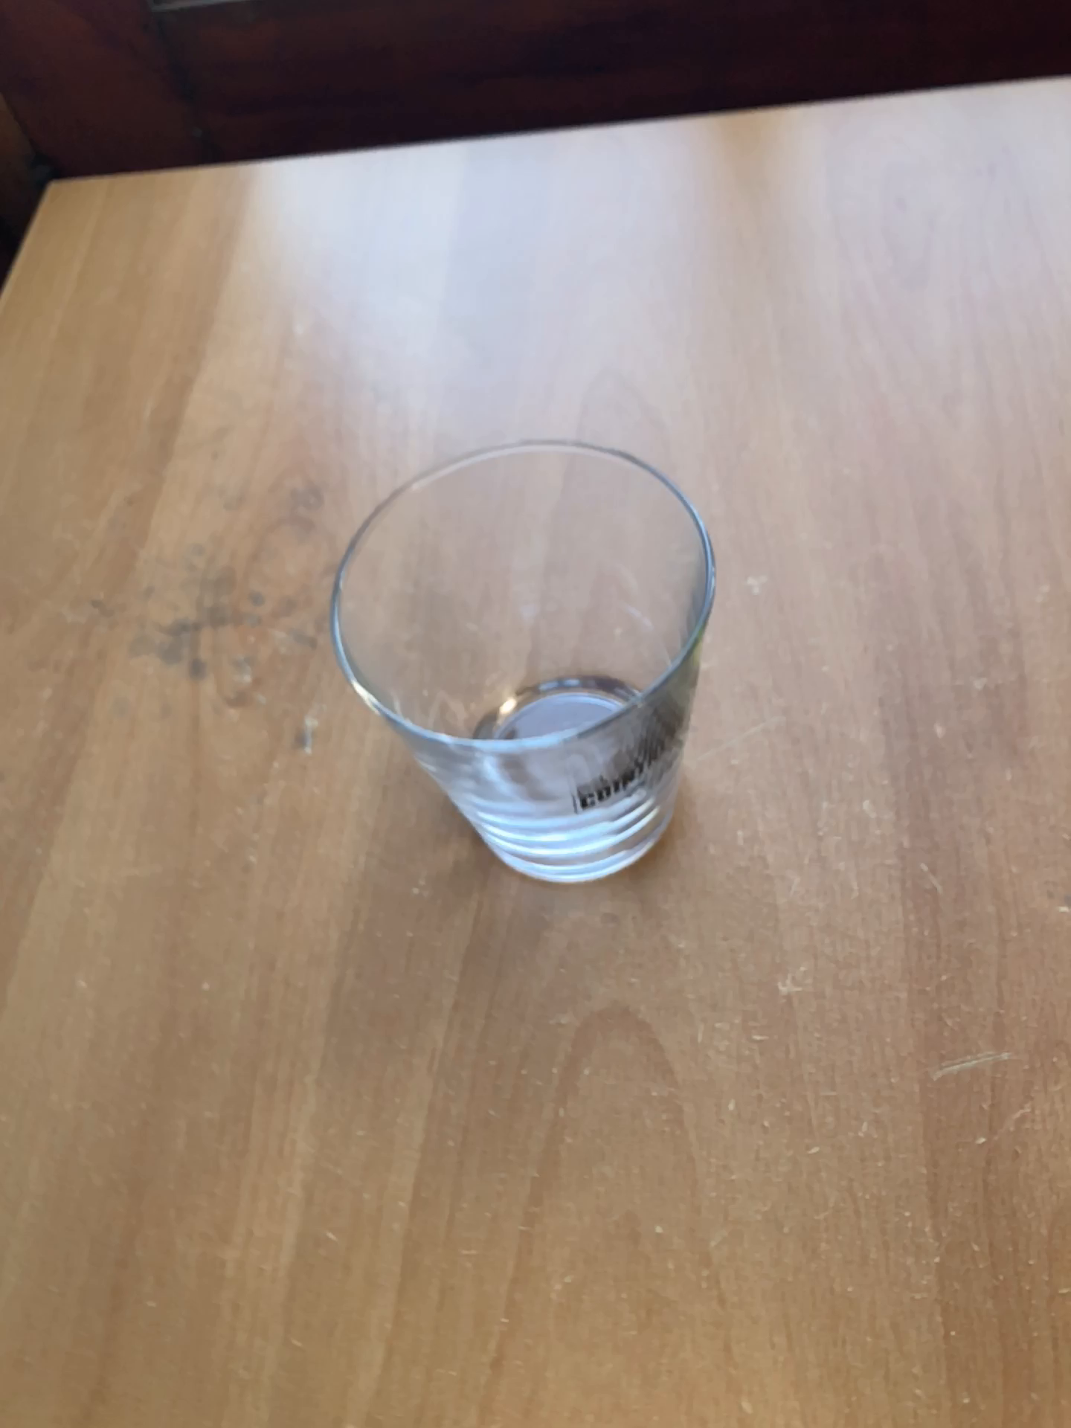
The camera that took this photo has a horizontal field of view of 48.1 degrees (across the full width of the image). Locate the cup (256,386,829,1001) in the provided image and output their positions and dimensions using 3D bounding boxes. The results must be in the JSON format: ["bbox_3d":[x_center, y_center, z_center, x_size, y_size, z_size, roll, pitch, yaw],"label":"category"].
[{"bbox_3d":[0.005,-0.004,0.257,0.079,0.073,0.076,-5,58,8],"label":"cup"}]
